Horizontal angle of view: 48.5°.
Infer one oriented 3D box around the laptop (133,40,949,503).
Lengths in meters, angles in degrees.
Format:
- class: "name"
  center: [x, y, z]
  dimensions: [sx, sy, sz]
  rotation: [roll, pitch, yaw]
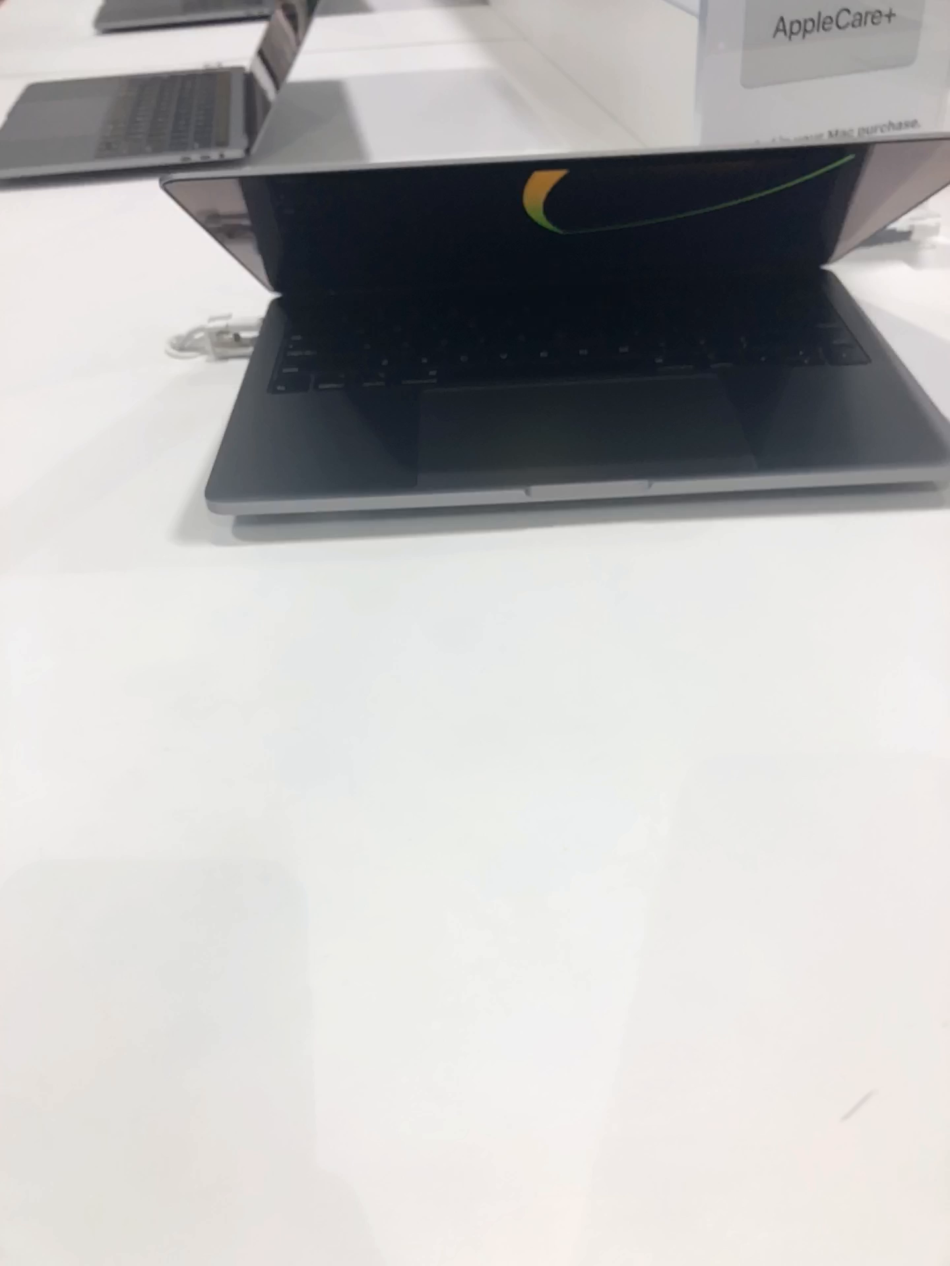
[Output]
- class: "laptop"
  center: [0.040, -0.165, 0.452]
  dimensions: [0.296, 0.109, 0.211]
  rotation: [-3, 39, 1]
